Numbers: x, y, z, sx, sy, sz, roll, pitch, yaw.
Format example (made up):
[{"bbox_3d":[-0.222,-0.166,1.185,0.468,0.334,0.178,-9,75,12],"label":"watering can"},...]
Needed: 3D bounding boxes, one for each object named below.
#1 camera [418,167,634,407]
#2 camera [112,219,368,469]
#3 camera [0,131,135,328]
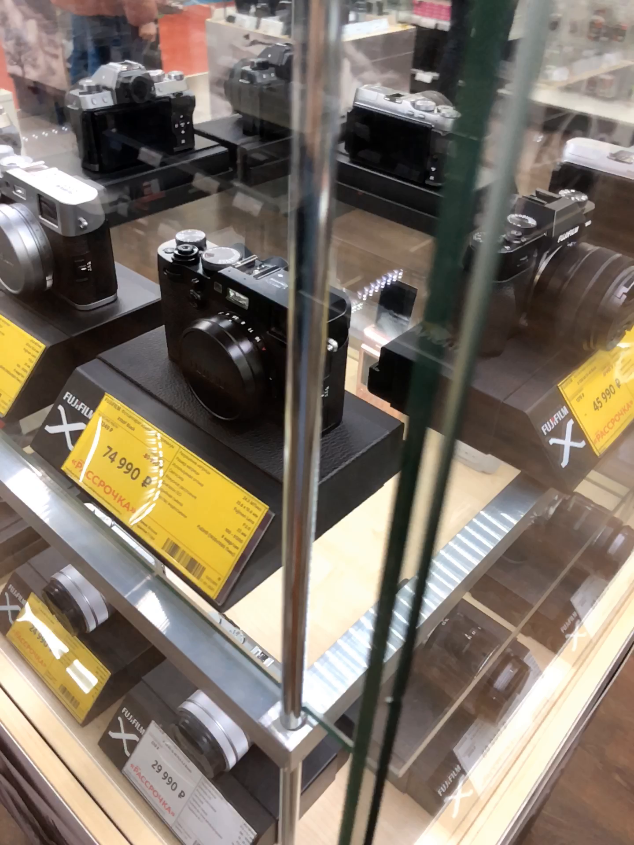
[{"bbox_3d":[0.149,-0.092,0.439,0.104,0.080,0.131,31,46,30],"label":"camera"},{"bbox_3d":[-0.044,-0.047,0.378,0.131,0.075,0.054,31,46,30],"label":"camera"},{"bbox_3d":[-0.189,-0.132,0.466,0.131,0.080,0.054,31,46,30],"label":"camera"}]
